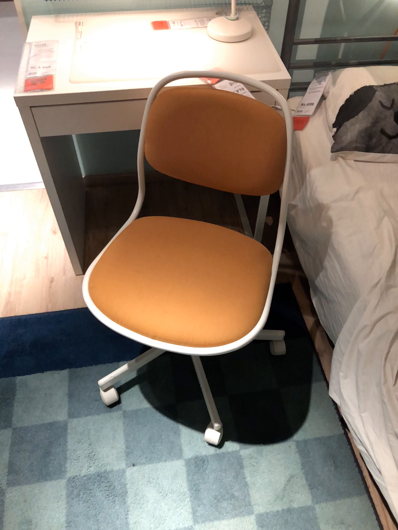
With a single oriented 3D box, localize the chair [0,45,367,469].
[{"bbox_3d":[-0.034,0.017,1.101,0.610,0.795,0.563,15,52,11],"label":"chair"}]
